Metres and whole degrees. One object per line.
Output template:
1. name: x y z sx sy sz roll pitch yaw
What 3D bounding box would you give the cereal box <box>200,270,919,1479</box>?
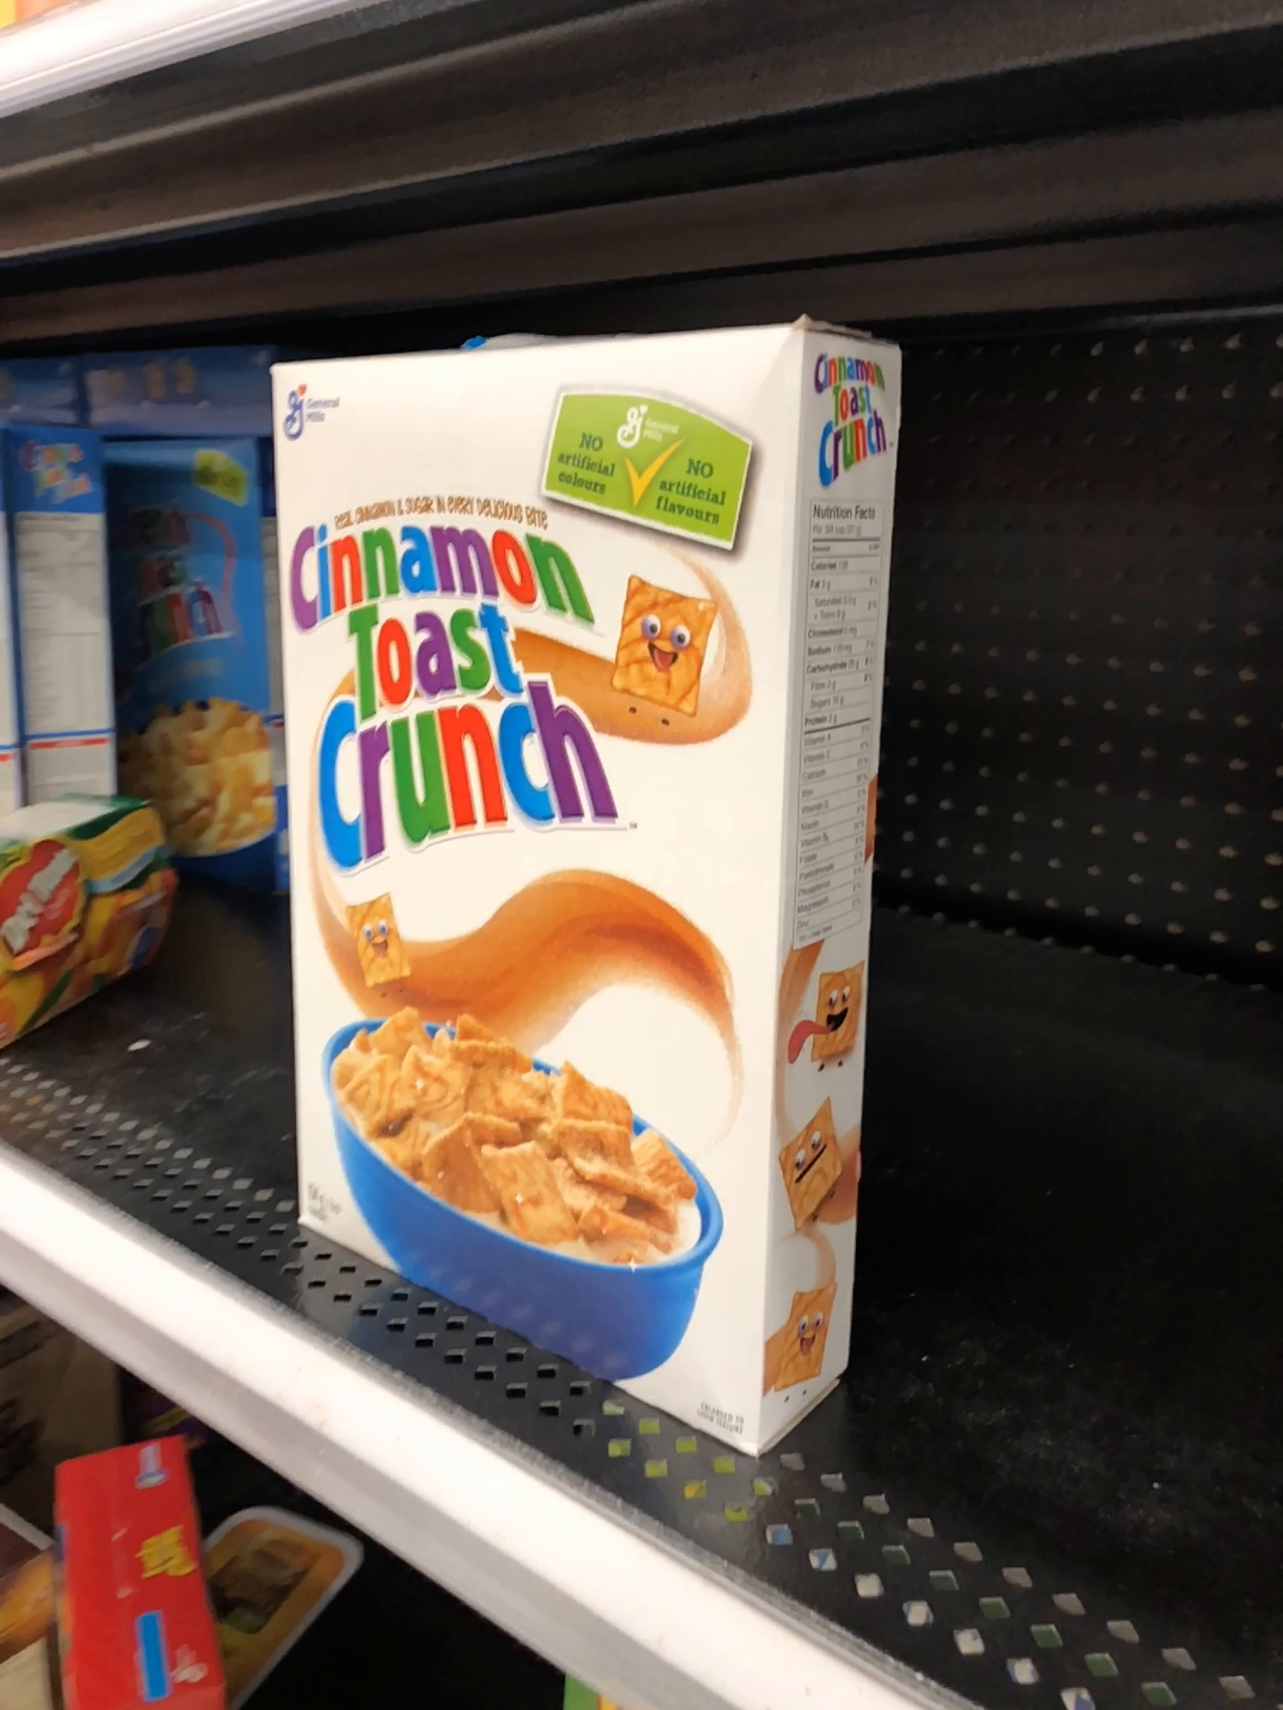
1. cereal box: -0.036 -0.004 0.402 0.210 0.279 0.050 11 16 38
